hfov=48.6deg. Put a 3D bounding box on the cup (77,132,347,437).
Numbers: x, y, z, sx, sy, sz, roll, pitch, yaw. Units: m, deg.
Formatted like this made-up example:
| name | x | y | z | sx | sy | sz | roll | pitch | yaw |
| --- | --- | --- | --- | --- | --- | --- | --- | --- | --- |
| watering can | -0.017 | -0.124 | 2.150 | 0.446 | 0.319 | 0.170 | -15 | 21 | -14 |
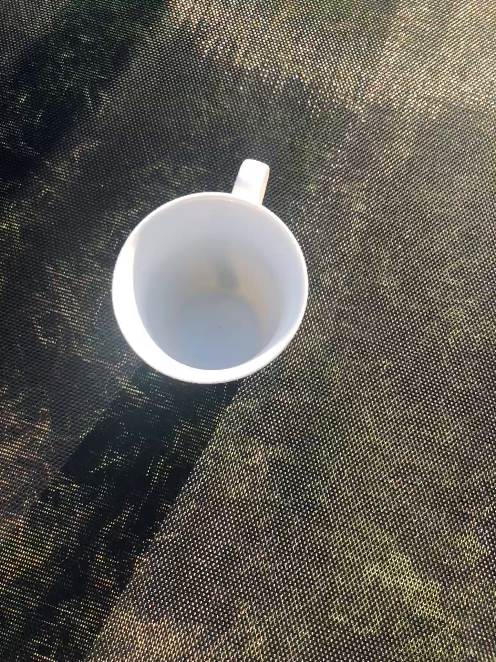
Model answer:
| name | x | y | z | sx | sy | sz | roll | pitch | yaw |
| --- | --- | --- | --- | --- | --- | --- | --- | --- | --- |
| cup | -0.014 | -0.018 | 0.310 | 0.097 | 0.094 | 0.129 | 16 | 79 | 4 |
